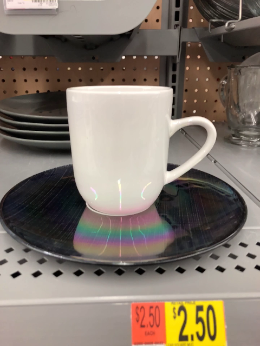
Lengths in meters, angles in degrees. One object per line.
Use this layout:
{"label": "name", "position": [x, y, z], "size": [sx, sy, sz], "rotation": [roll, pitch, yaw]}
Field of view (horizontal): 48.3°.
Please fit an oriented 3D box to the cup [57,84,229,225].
{"label": "cup", "position": [0.007, -0.022, 0.243], "size": [0.112, 0.098, 0.078], "rotation": [-1, 20, -3]}
